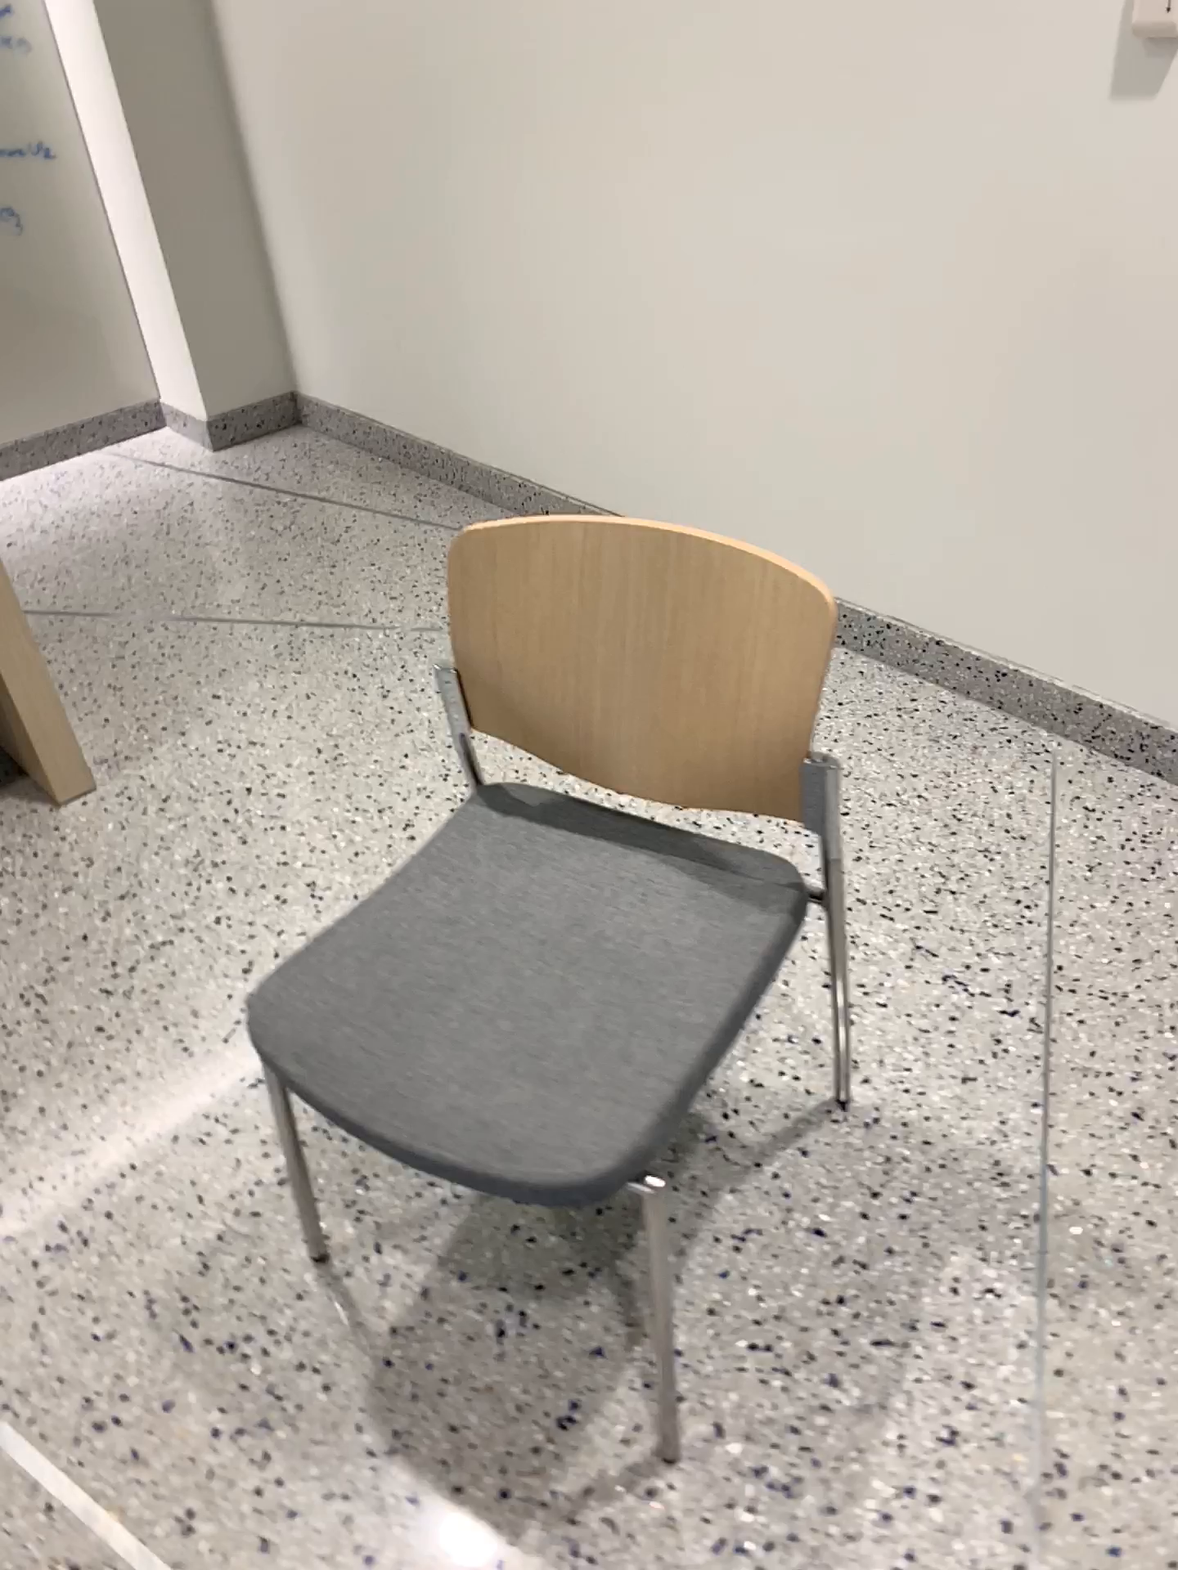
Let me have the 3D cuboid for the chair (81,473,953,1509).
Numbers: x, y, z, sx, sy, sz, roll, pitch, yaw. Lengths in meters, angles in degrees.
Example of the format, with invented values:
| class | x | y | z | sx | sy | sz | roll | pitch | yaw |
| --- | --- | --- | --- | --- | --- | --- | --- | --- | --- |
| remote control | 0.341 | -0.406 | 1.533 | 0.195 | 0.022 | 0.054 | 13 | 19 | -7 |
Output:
| class | x | y | z | sx | sy | sz | roll | pitch | yaw |
| --- | --- | --- | --- | --- | --- | --- | --- | --- | --- |
| chair | -0.007 | 0.177 | 1.284 | 0.538 | 0.768 | 0.595 | 17 | 41 | 28 |
